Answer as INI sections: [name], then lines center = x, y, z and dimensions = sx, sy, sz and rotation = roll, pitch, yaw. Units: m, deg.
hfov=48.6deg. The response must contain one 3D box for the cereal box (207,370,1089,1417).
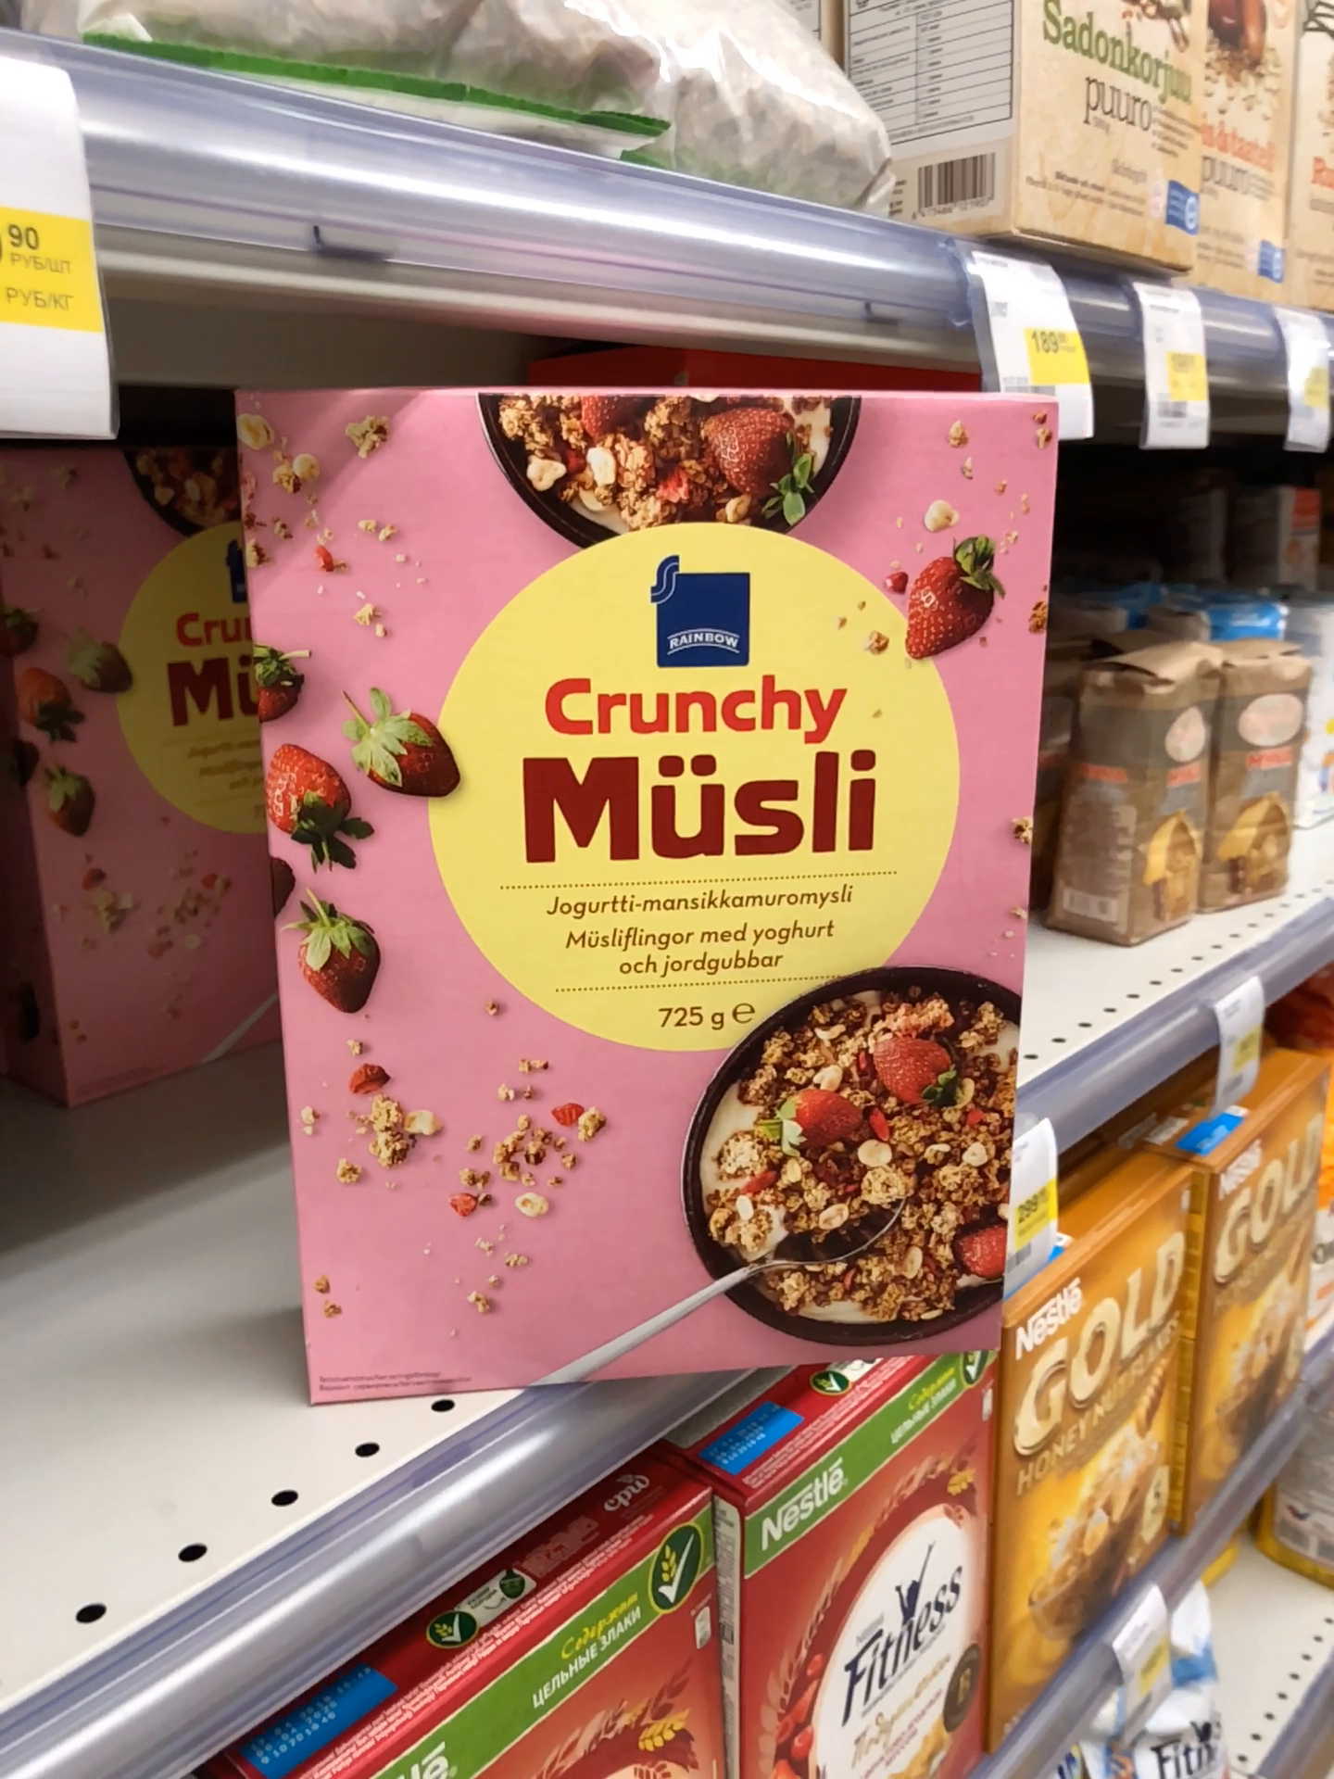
[cereal box]
center = -0.005, 0.002, 0.395
dimensions = 0.200, 0.259, 0.060
rotation = -2, 15, -8
